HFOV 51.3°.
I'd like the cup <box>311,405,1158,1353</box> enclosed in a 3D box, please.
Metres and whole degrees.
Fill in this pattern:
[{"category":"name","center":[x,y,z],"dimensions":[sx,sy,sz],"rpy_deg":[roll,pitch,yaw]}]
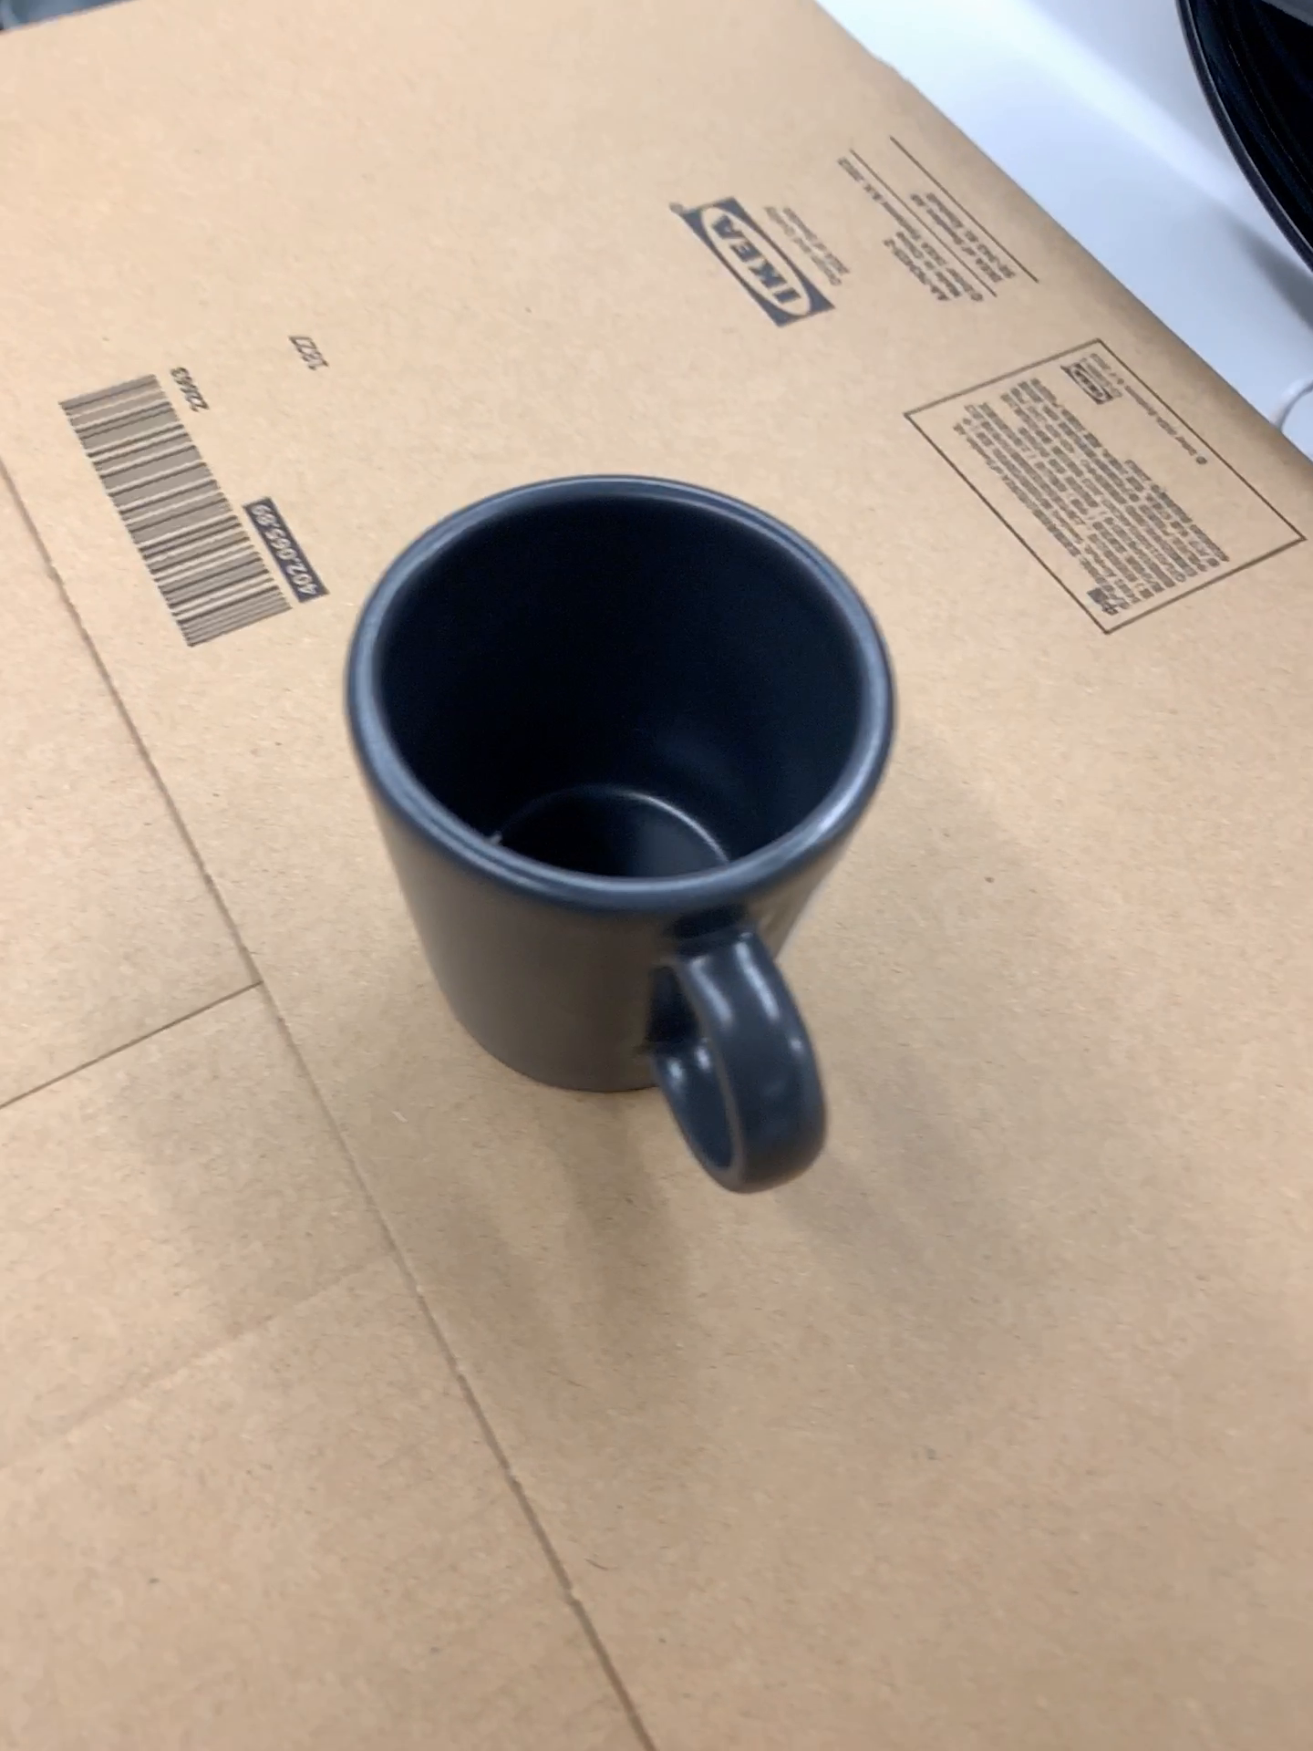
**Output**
[{"category":"cup","center":[0.001,0.002,0.169],"dimensions":[0.060,0.070,0.080],"rpy_deg":[-16,63,-16]}]
